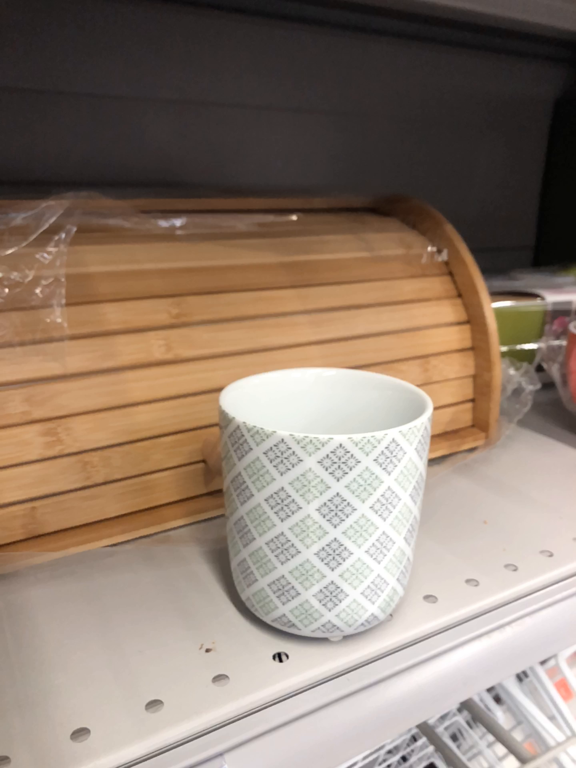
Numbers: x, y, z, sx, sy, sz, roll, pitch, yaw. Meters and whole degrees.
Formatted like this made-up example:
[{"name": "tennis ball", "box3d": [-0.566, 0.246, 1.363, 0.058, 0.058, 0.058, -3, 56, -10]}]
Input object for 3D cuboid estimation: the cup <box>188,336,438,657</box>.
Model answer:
[{"name": "cup", "box3d": [0.014, 0.038, 0.289, 0.085, 0.090, 0.119, 4, 17, 7]}]
